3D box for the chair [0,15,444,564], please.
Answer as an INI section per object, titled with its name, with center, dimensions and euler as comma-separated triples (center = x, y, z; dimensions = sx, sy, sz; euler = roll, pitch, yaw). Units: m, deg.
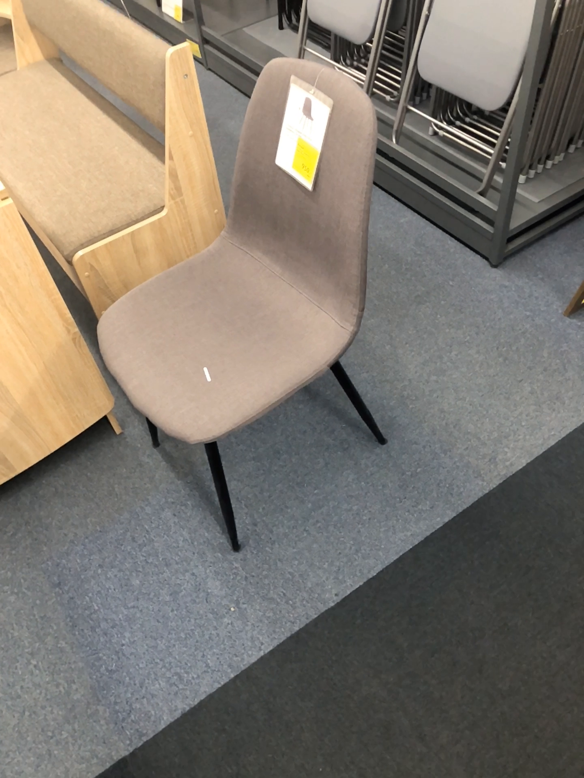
[chair]
center = -0.102, -0.158, 1.272
dimensions = 0.541, 0.807, 0.481
euler = -33, 55, -19
